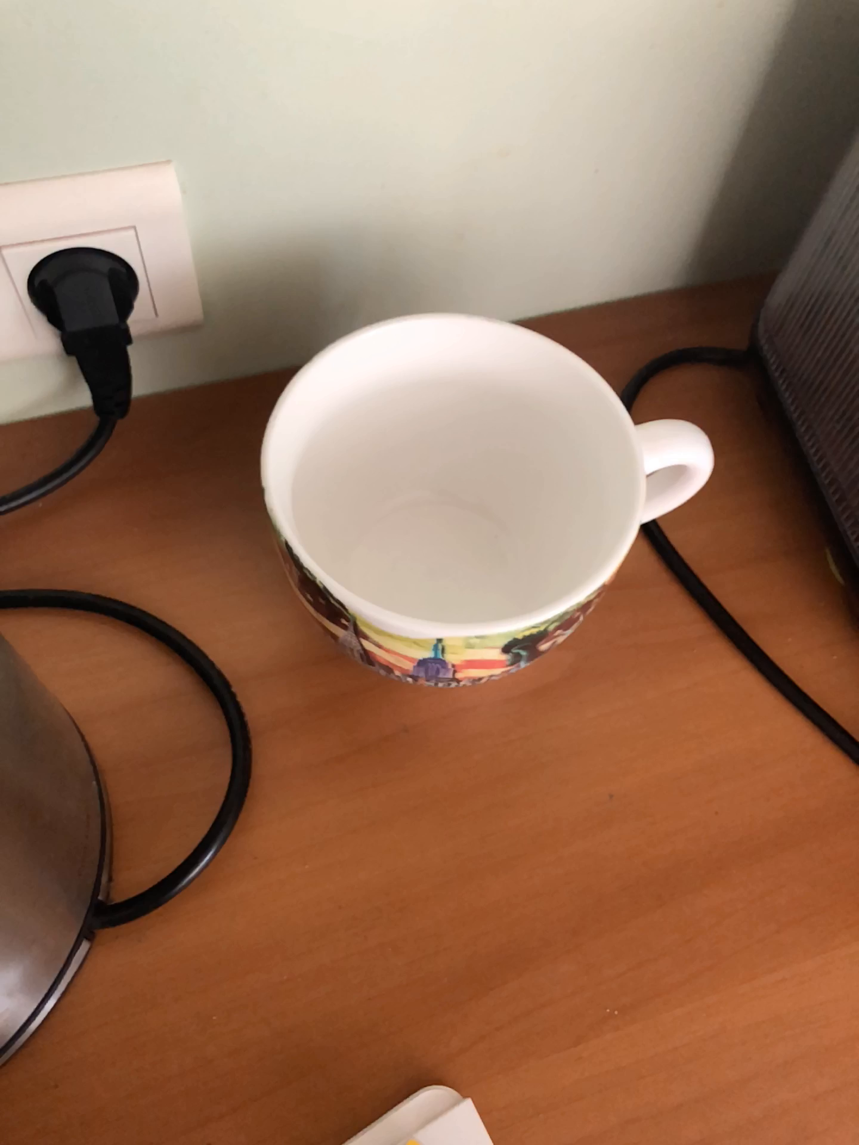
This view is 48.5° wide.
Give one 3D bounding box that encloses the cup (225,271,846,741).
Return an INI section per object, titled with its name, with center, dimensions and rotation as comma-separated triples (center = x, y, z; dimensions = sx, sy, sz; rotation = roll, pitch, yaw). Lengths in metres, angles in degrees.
[cup]
center = 0.026, -0.026, 0.328
dimensions = 0.170, 0.070, 0.120
rotation = -9, 62, -10
